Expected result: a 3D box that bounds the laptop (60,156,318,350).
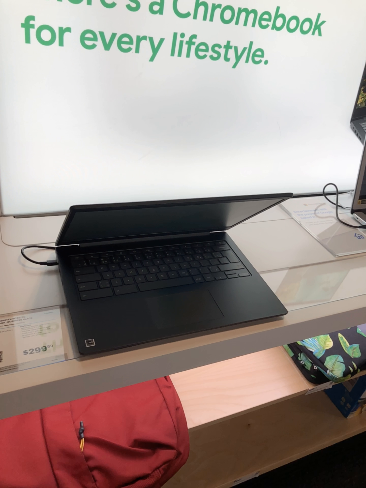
[{"bbox_3d":[-0.010,-0.008,0.601,0.306,0.157,0.214,-6,39,-22],"label":"laptop"}]
